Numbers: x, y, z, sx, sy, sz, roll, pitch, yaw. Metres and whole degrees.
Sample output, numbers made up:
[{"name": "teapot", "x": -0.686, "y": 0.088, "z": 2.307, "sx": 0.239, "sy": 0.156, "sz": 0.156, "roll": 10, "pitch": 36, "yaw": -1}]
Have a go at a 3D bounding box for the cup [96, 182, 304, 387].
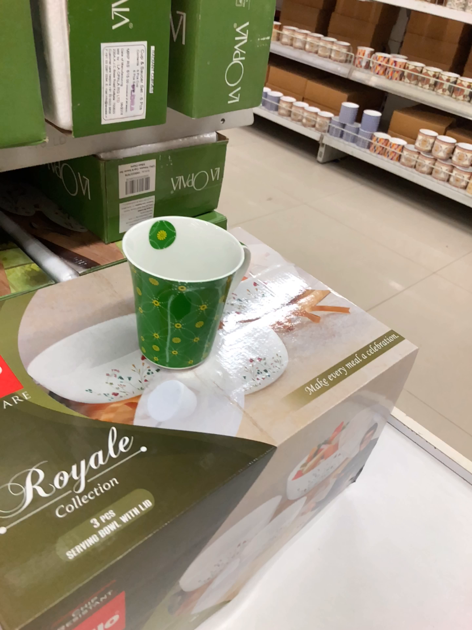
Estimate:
[{"name": "cup", "x": -0.029, "y": -0.029, "z": 0.383, "sx": 0.111, "sy": 0.089, "sz": 0.090, "roll": -24, "pitch": 48, "yaw": -37}]
